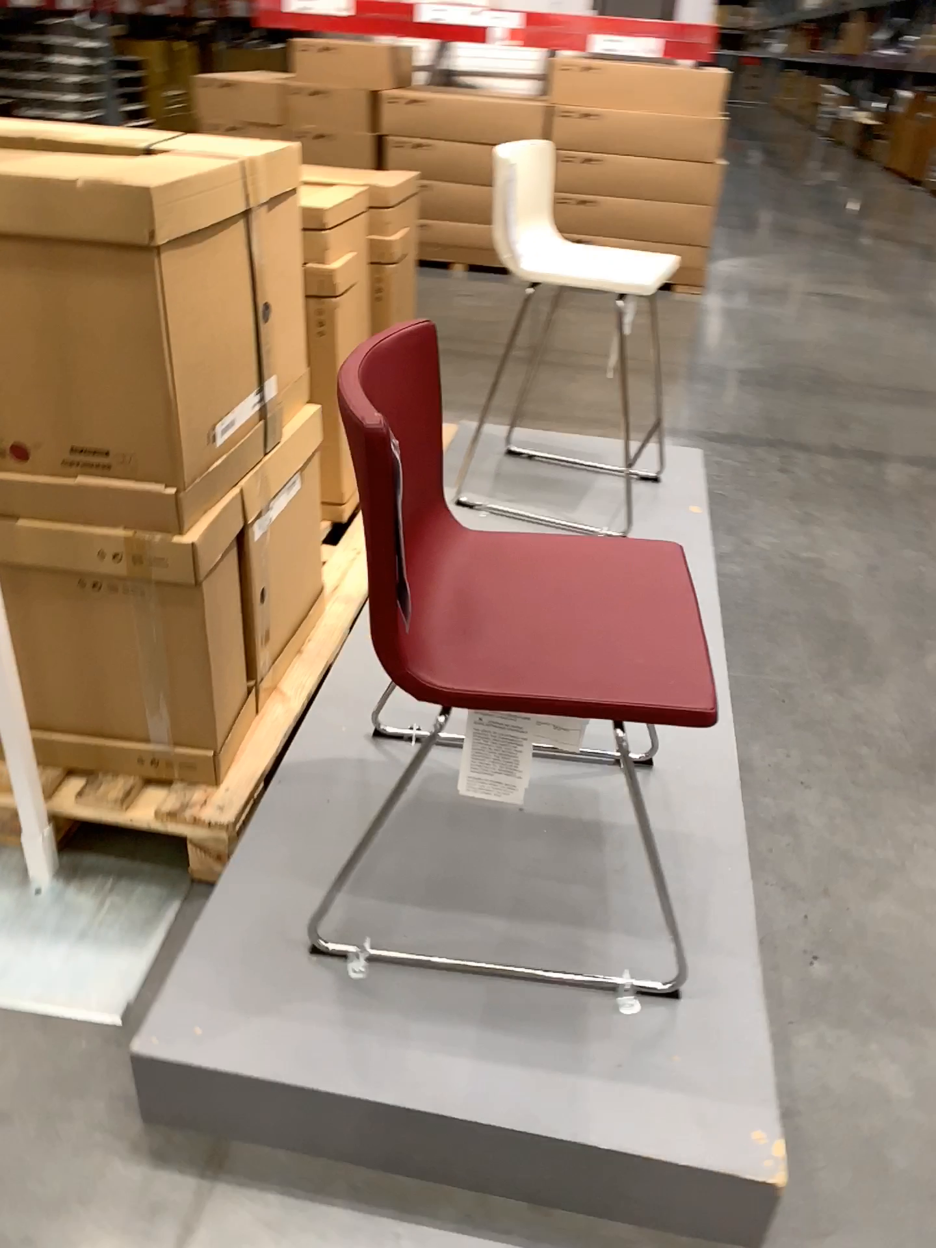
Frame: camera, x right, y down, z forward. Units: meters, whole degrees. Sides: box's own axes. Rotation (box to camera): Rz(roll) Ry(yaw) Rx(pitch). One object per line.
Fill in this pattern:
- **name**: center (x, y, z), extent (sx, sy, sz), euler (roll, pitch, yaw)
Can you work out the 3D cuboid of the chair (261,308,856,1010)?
- **chair**: center (0.079, 0.029, 1.291), extent (0.550, 0.726, 0.533), euler (6, 31, 2)
